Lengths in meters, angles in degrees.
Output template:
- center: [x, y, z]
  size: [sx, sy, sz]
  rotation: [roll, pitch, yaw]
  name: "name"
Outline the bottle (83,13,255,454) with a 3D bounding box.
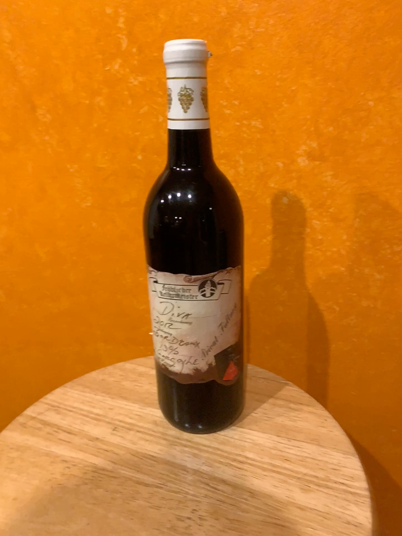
- center: [-0.009, -0.010, 0.305]
  size: [0.080, 0.289, 0.070]
  rotation: [7, 24, 22]
  name: "bottle"
